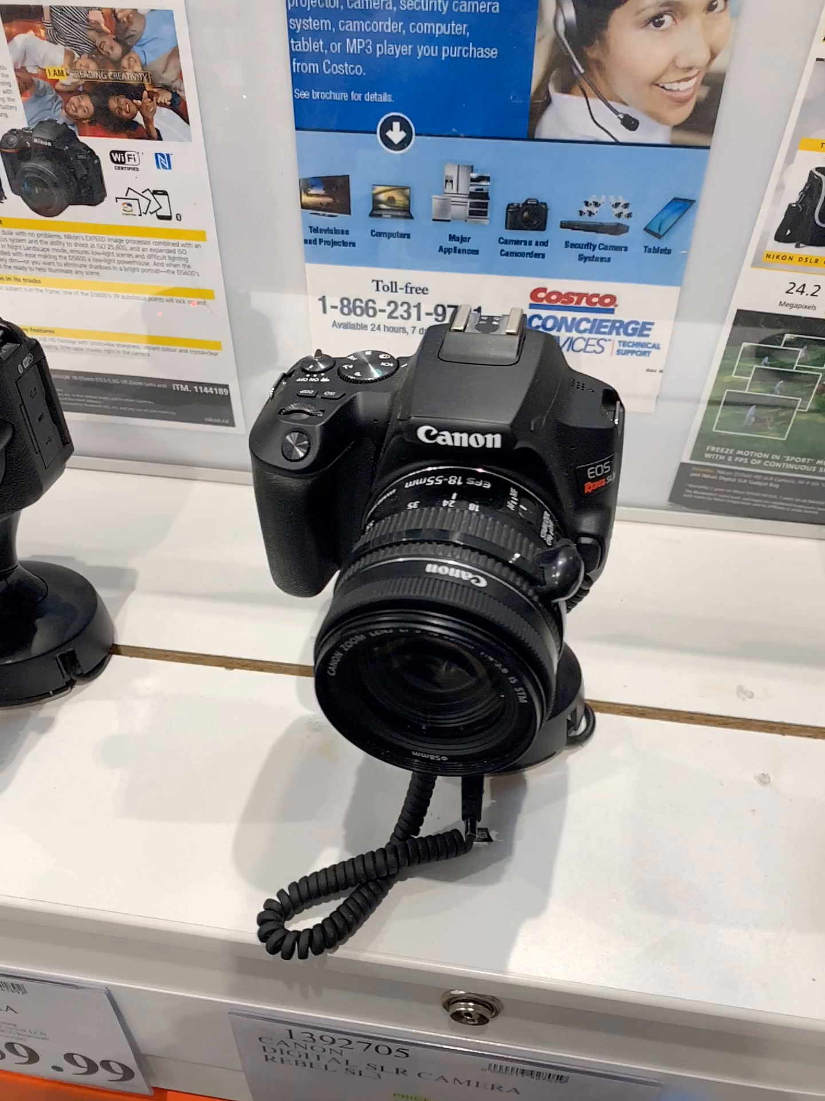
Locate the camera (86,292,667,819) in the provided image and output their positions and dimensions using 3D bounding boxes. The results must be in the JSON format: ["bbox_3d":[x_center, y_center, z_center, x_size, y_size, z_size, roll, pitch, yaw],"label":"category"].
[{"bbox_3d":[0.001,-0.005,0.242,0.120,0.089,0.111,5,41,9],"label":"camera"}]
